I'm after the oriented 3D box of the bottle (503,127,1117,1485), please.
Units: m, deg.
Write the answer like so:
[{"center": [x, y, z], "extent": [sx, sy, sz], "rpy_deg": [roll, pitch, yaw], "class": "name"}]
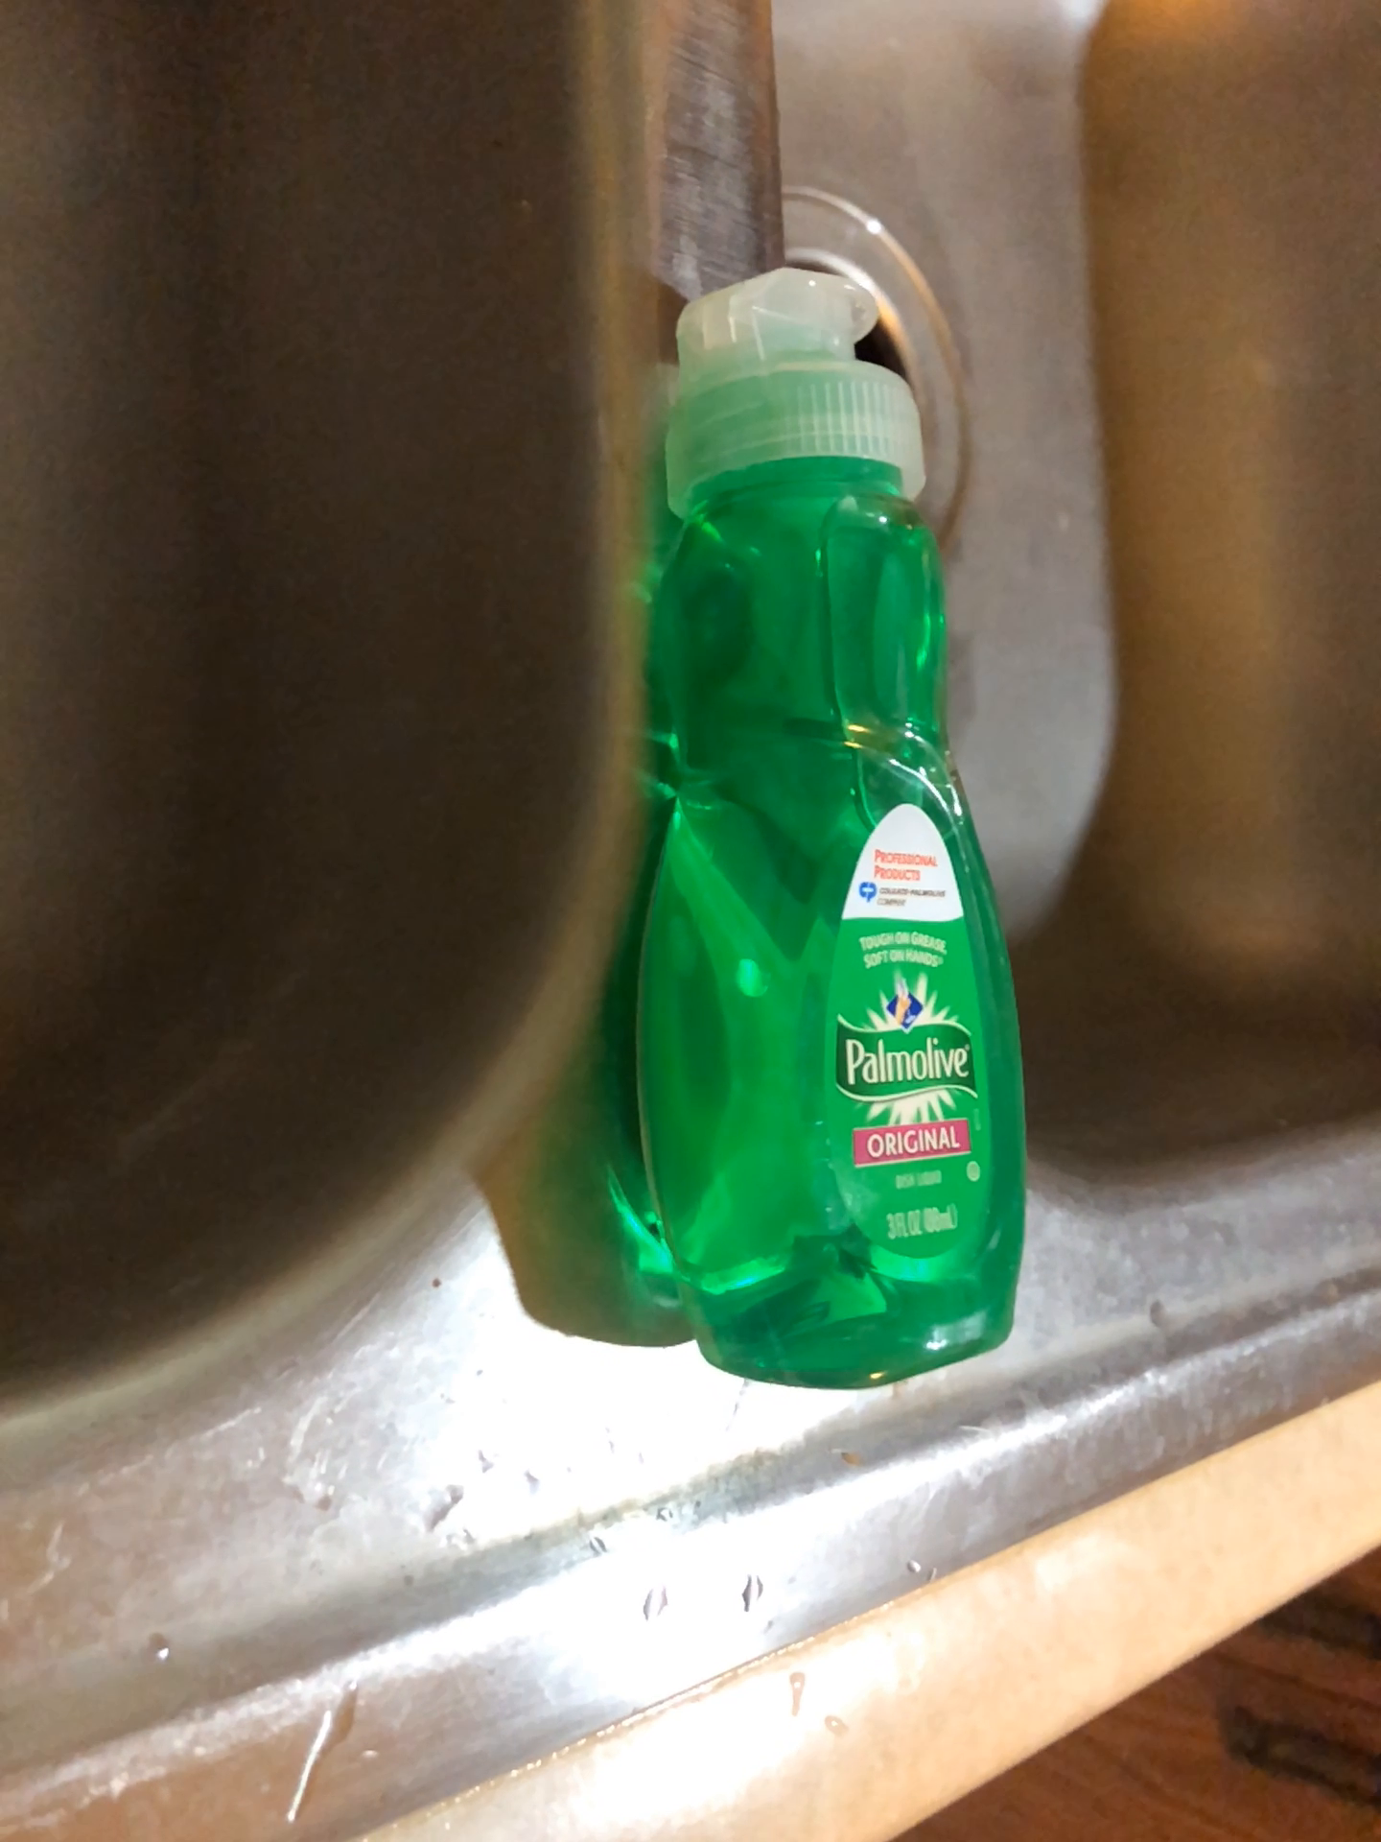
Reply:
[{"center": [0.014, -0.012, 0.175], "extent": [0.050, 0.030, 0.130], "rpy_deg": [-2, 86, -41], "class": "bottle"}]
